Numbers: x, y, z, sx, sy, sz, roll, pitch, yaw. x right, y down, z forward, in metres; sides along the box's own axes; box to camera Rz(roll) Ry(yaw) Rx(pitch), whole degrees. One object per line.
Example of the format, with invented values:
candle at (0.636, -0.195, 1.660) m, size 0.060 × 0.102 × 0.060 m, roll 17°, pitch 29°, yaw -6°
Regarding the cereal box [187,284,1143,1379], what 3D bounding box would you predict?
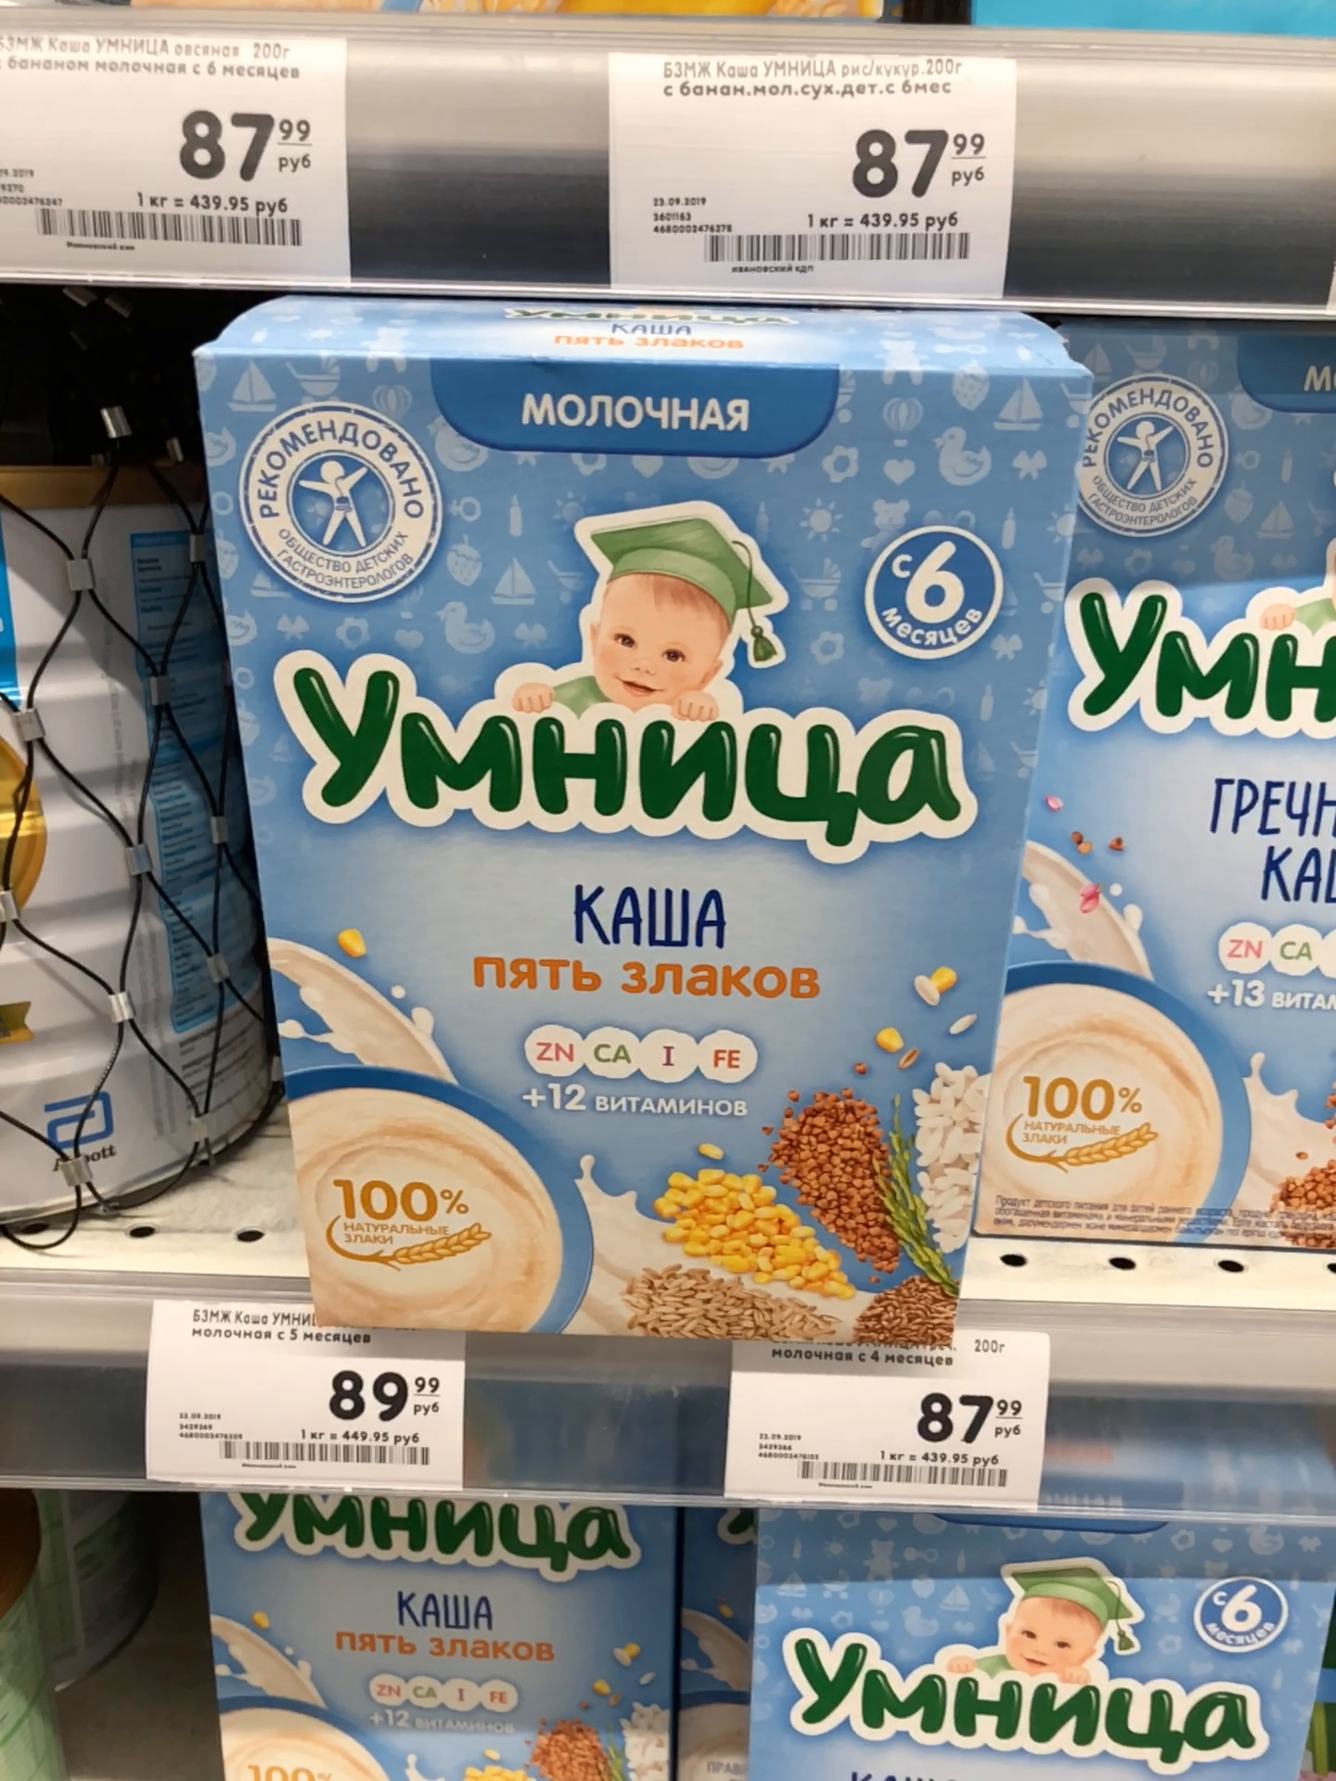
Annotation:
cereal box at (0.000, -0.004, 0.294) m, size 0.140 × 0.209 × 0.060 m, roll 1°, pitch 29°, yaw 2°
